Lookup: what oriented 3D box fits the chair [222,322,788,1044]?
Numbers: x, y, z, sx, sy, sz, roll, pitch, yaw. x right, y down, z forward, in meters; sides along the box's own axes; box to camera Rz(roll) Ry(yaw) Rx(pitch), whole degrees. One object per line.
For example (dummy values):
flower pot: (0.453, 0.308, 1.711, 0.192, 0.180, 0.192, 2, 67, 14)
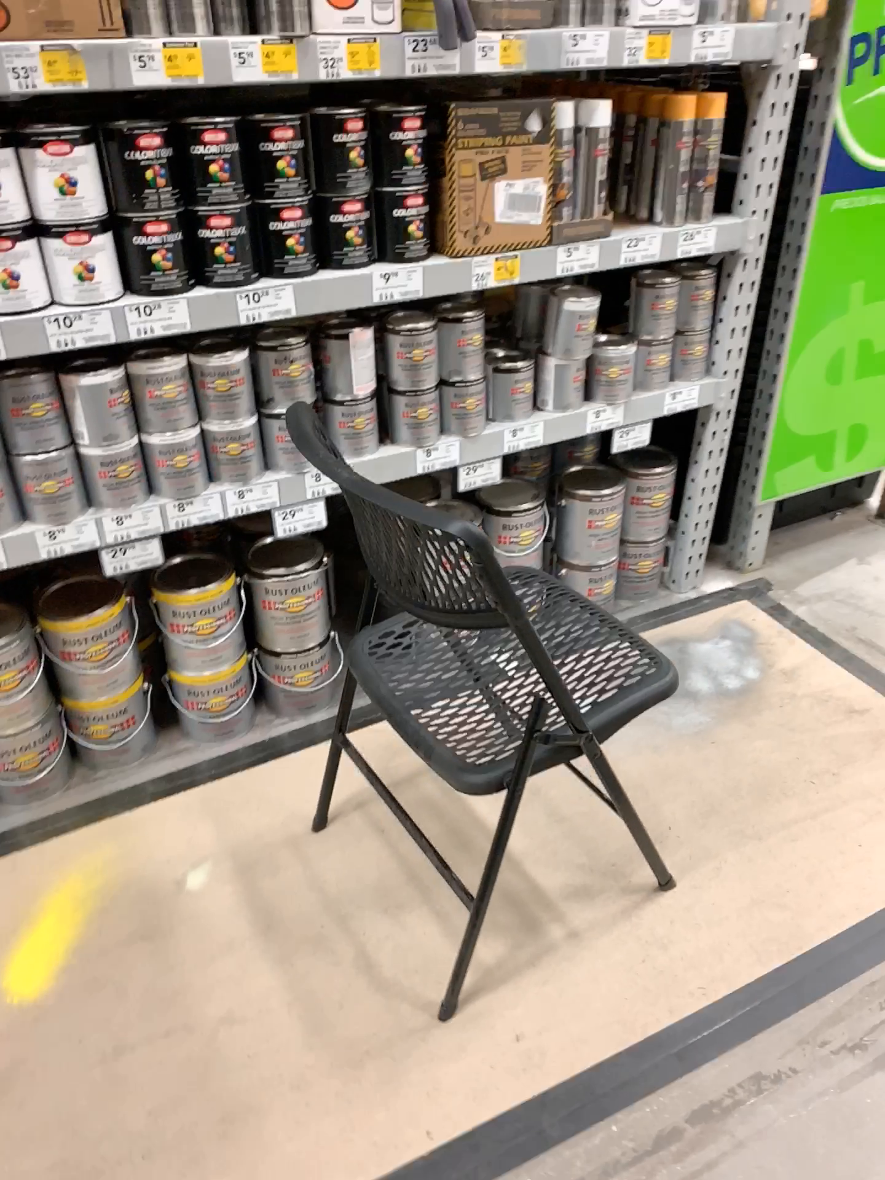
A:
chair: (0.062, 0.106, 1.370, 0.516, 0.814, 0.520, -19, 36, -26)
